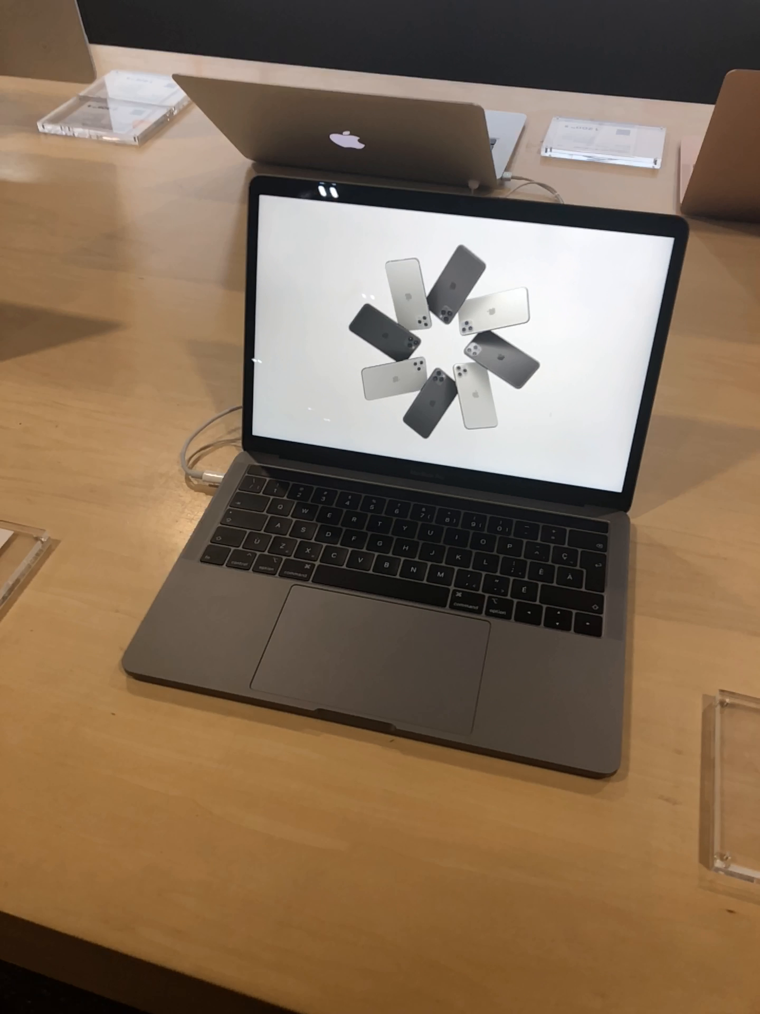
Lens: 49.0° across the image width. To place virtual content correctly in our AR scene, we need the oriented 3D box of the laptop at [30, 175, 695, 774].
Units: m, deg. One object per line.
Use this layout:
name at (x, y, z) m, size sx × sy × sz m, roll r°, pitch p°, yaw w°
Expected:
laptop at (0.015, -0.044, 0.527) m, size 0.296 × 0.181 × 0.296 m, roll 10°, pitch 45°, yaw 9°
